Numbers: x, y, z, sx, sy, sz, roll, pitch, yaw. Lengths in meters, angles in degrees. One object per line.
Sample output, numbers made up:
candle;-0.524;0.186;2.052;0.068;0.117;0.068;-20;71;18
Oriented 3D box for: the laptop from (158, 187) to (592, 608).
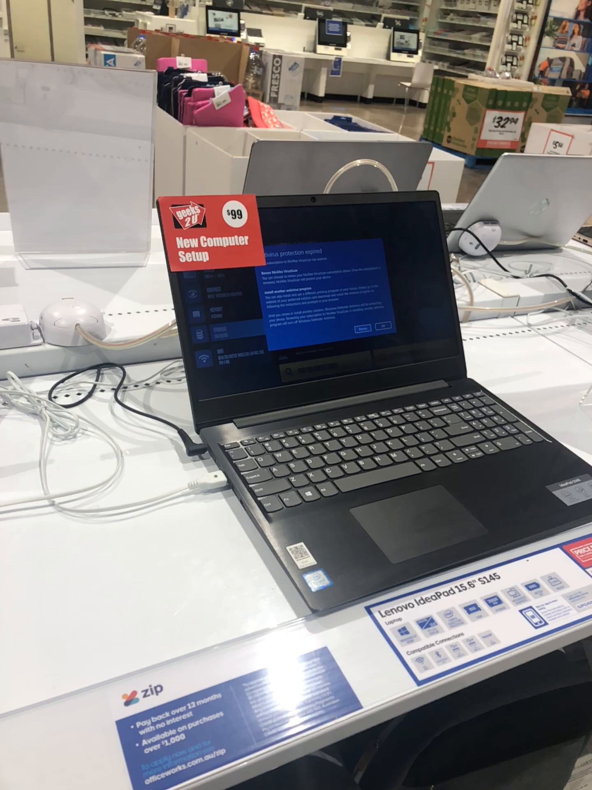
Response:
laptop;0.094;-0.050;0.643;0.353;0.192;0.370;-10;36;-27
